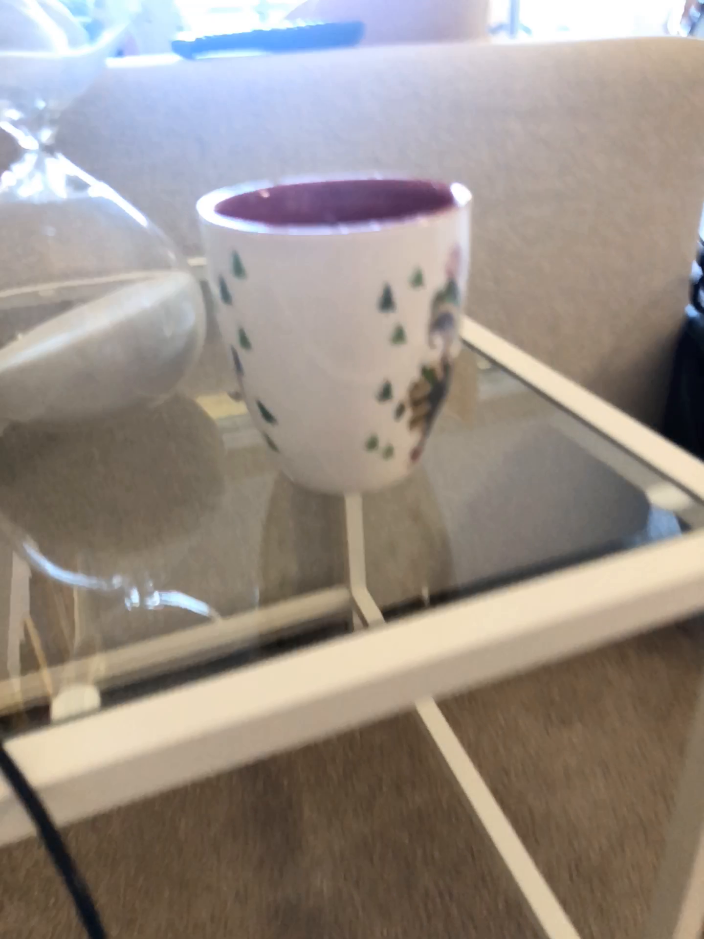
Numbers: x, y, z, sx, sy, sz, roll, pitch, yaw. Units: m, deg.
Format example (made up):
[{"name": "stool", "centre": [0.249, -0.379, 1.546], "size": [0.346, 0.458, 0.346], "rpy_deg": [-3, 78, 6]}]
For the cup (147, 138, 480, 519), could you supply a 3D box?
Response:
[{"name": "cup", "centre": [-0.004, -0.067, 0.324], "size": [0.100, 0.109, 0.151], "rpy_deg": [0, 30, 5]}]
